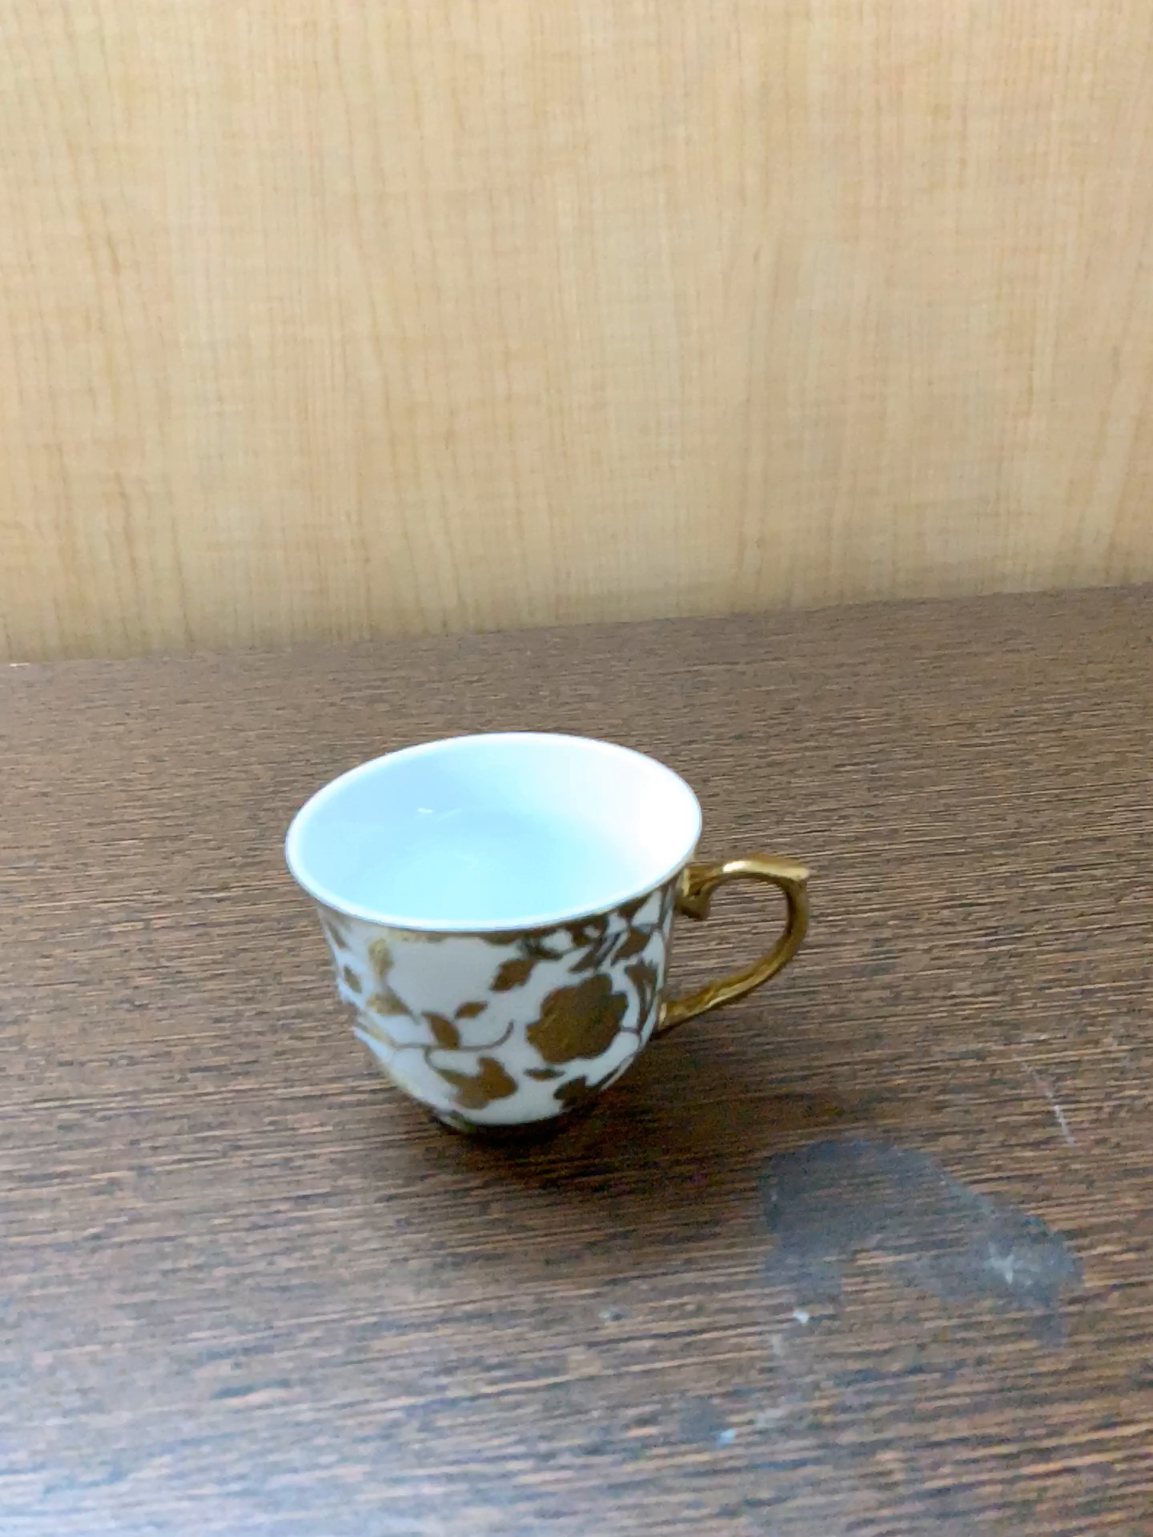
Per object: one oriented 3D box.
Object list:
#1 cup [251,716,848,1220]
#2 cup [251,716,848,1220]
[{"bbox_3d":[-0.004,0.029,0.202,0.080,0.050,0.071,-2,24,0],"label":"cup"},{"bbox_3d":[-0.004,0.029,0.202,0.080,0.050,0.071,-2,24,0],"label":"cup"}]
